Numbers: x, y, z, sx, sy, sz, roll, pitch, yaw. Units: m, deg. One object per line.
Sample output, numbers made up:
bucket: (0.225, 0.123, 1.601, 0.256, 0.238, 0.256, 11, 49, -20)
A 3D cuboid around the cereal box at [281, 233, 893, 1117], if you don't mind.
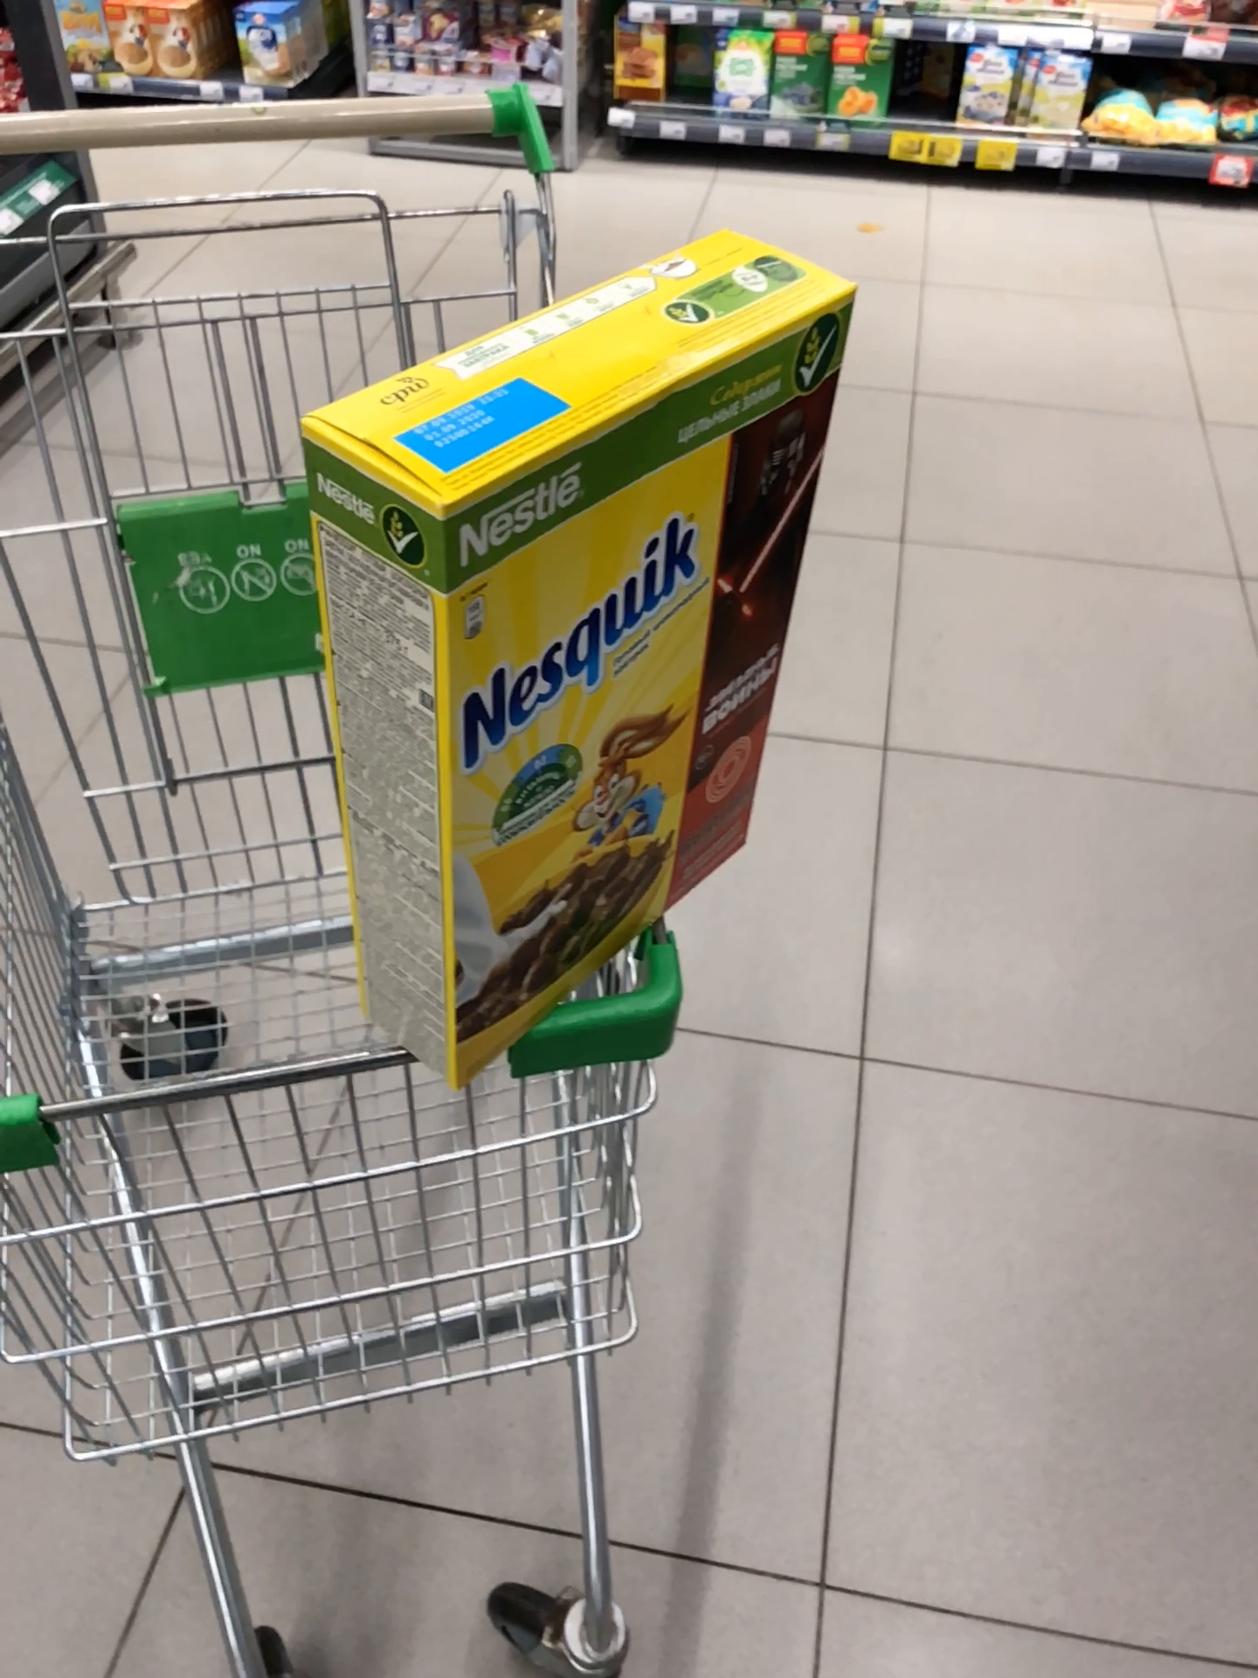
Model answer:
cereal box: (-0.014, -0.053, 0.518, 0.070, 0.268, 0.201, 34, 52, 24)
